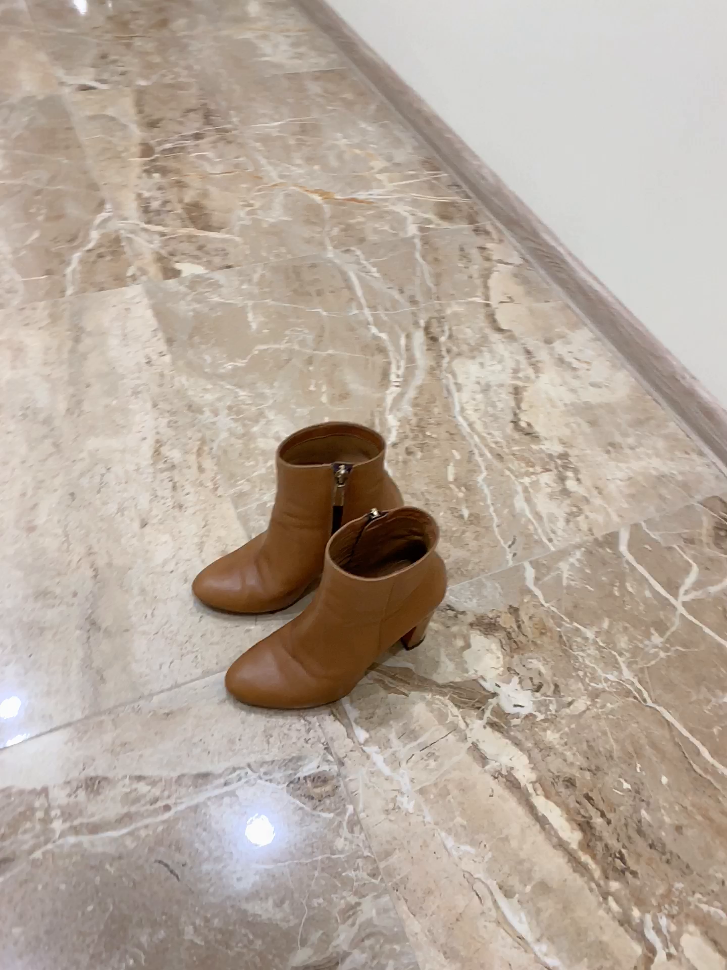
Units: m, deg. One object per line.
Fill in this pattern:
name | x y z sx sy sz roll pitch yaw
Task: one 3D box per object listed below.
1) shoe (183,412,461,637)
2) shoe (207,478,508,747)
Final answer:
shoe | -0.044 0.040 0.694 0.220 0.185 0.090 -7 52 -12
shoe | -0.011 0.110 0.630 0.210 0.175 0.090 -16 55 -19
